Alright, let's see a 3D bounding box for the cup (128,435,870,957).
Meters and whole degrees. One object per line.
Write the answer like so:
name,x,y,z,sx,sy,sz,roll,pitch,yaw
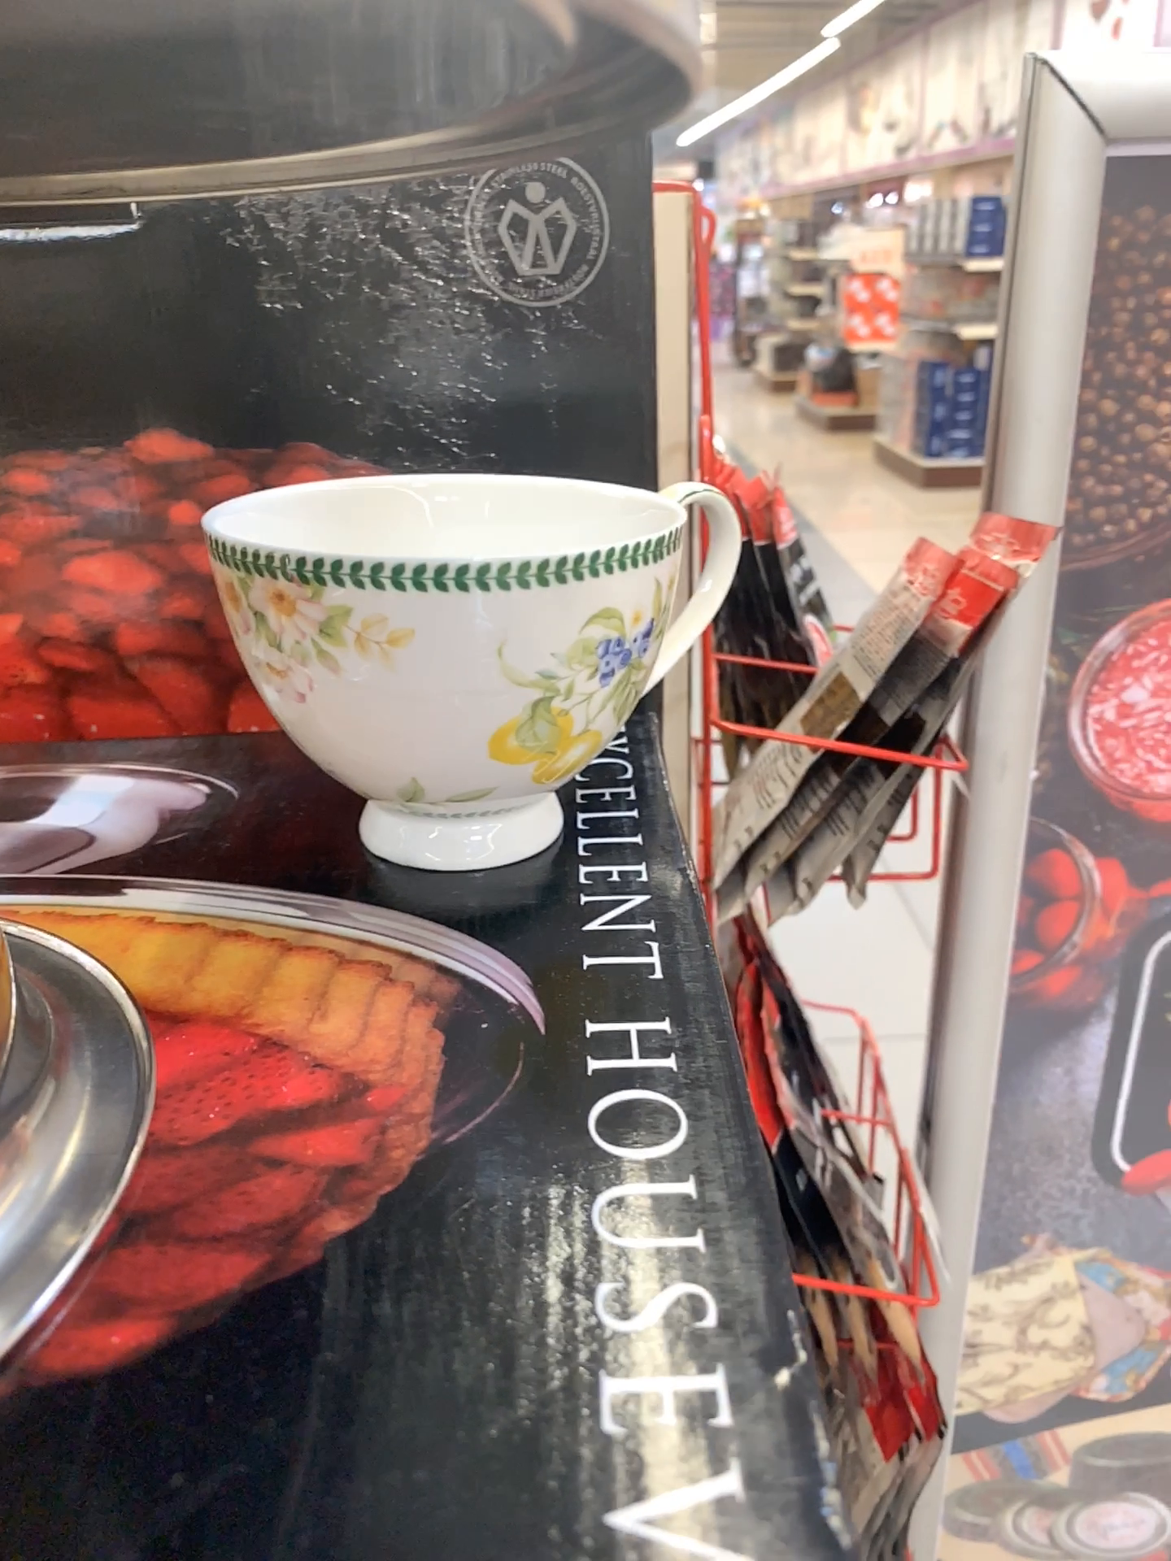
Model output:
cup,-0.019,-0.032,0.282,0.130,0.070,0.100,-18,29,-33
